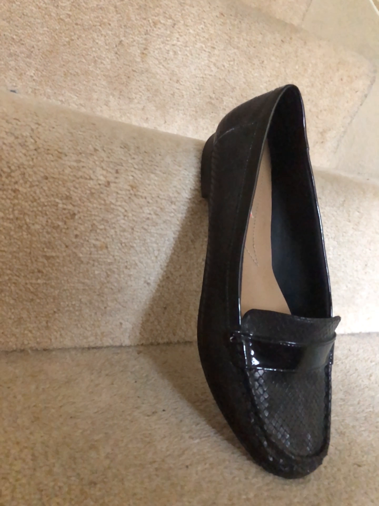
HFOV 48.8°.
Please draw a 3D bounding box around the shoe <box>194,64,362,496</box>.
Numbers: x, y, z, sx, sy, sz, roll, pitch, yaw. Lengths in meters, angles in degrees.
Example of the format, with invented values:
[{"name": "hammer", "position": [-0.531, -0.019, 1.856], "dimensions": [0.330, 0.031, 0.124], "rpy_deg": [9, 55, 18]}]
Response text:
[{"name": "shoe", "position": [0.060, 0.013, 0.305], "dimensions": [0.090, 0.261, 0.070], "rpy_deg": [7, -12, -36]}]
